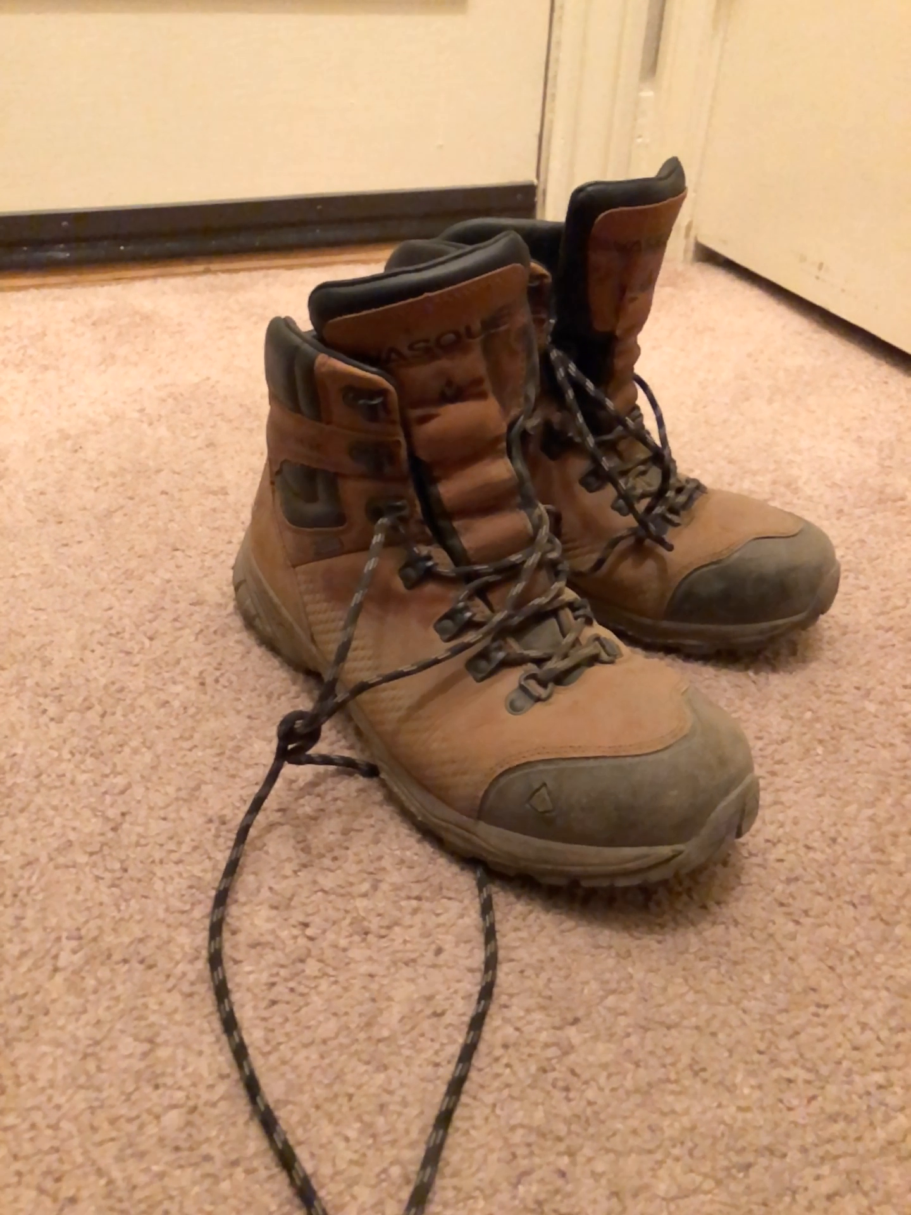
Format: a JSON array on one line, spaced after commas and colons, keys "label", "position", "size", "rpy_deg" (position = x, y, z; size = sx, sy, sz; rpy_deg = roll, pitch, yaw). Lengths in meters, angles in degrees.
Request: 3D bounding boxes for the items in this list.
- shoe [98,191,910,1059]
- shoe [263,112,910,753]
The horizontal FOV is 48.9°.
[{"label": "shoe", "position": [0.000, -0.019, 0.421], "size": [0.121, 0.219, 0.311], "rpy_deg": [-28, 46, -36]}, {"label": "shoe", "position": [0.061, -0.107, 0.532], "size": [0.311, 0.229, 0.121], "rpy_deg": [24, 40, 27]}]
